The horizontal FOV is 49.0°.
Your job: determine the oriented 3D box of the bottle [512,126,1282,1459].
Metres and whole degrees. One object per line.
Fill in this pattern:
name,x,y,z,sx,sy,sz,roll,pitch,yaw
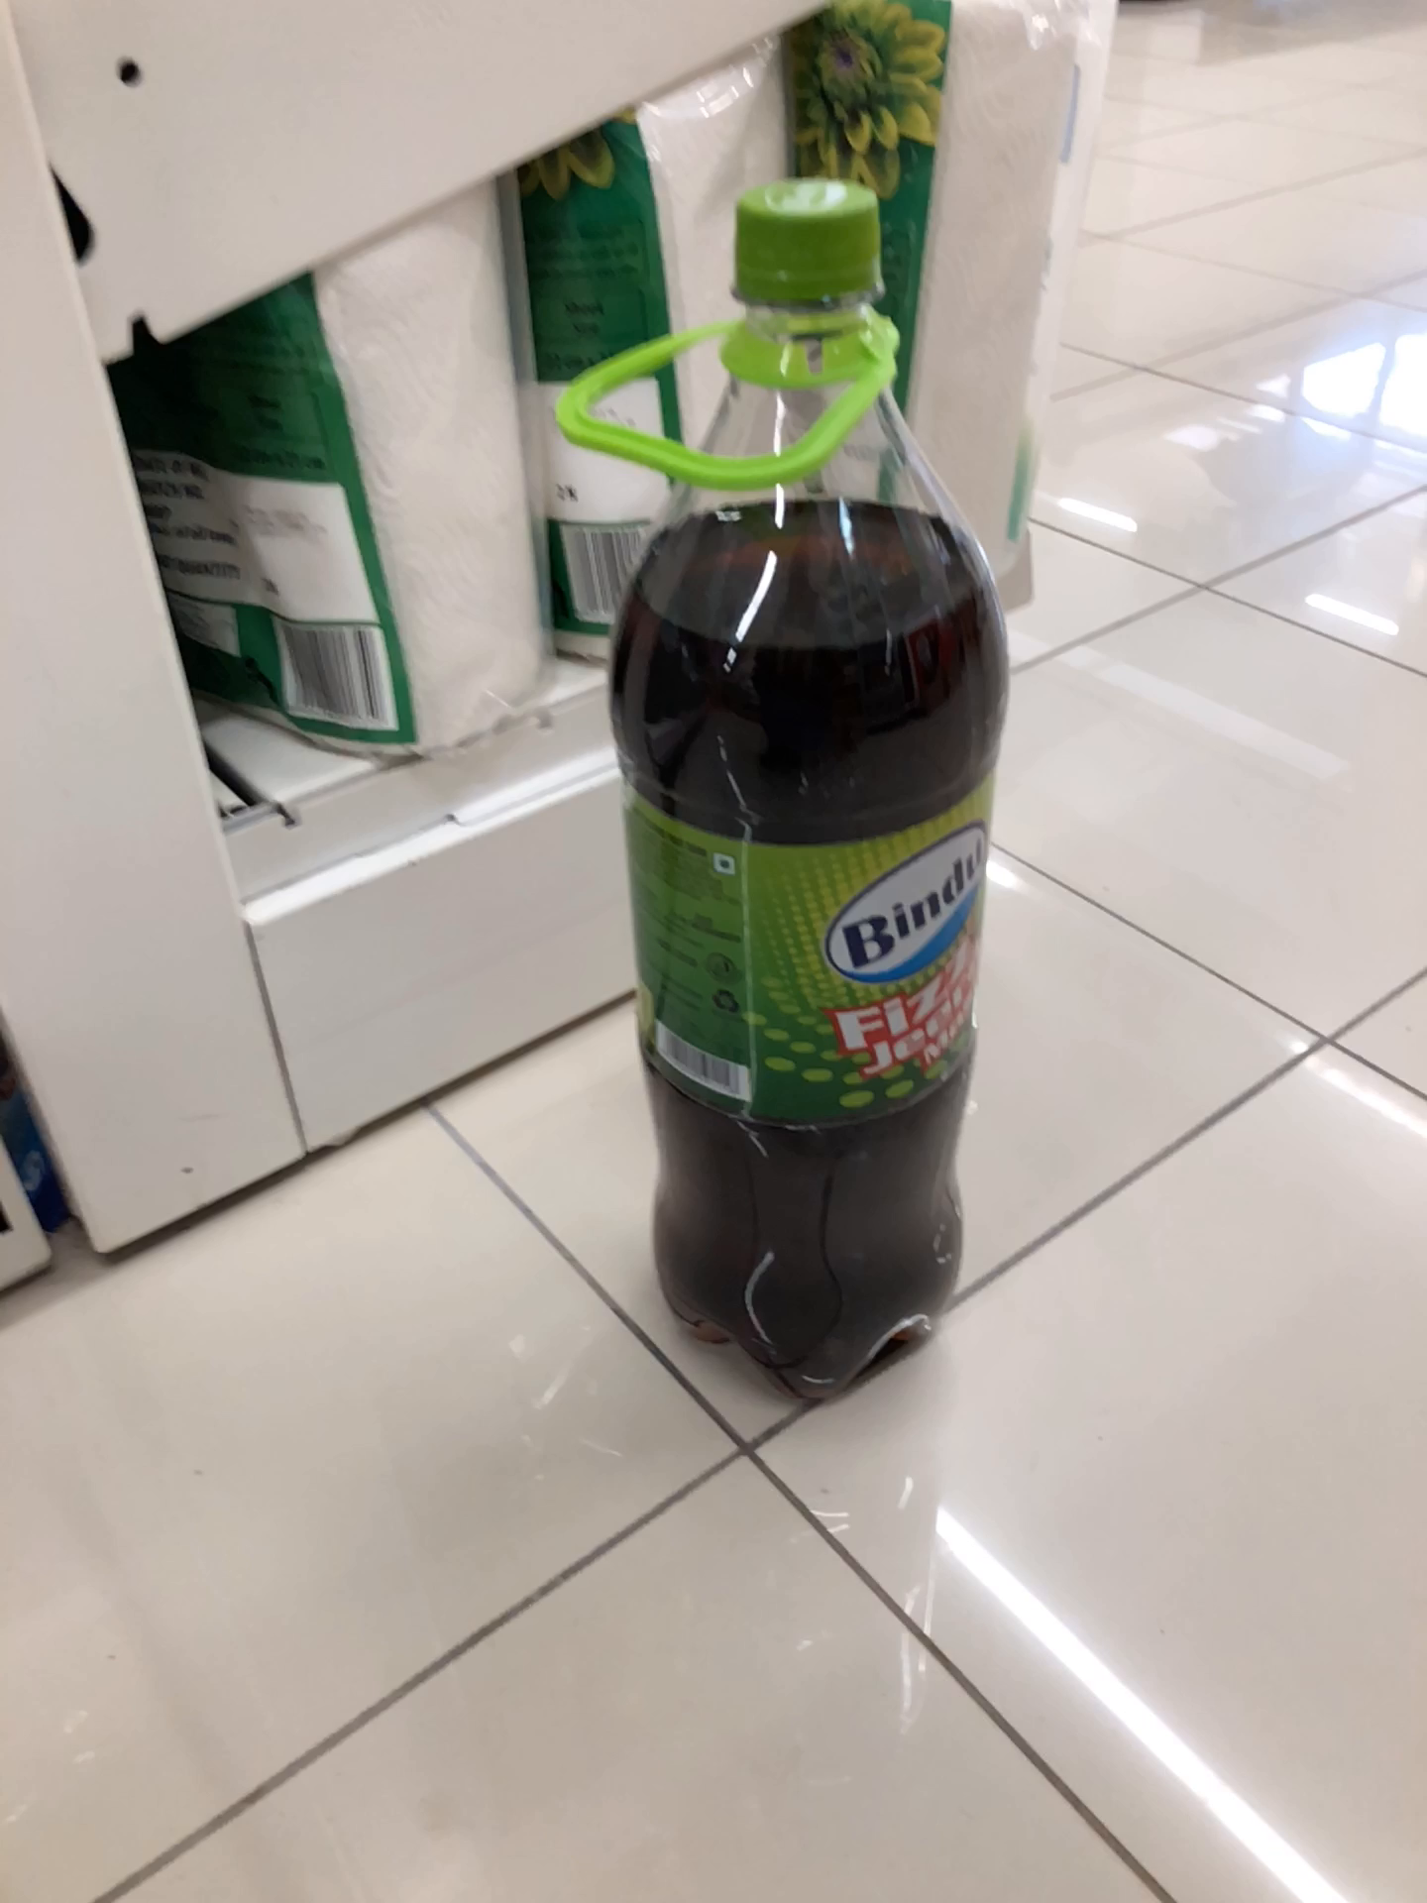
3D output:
bottle,0.040,-0.027,0.393,0.111,0.298,0.100,-30,45,-31
